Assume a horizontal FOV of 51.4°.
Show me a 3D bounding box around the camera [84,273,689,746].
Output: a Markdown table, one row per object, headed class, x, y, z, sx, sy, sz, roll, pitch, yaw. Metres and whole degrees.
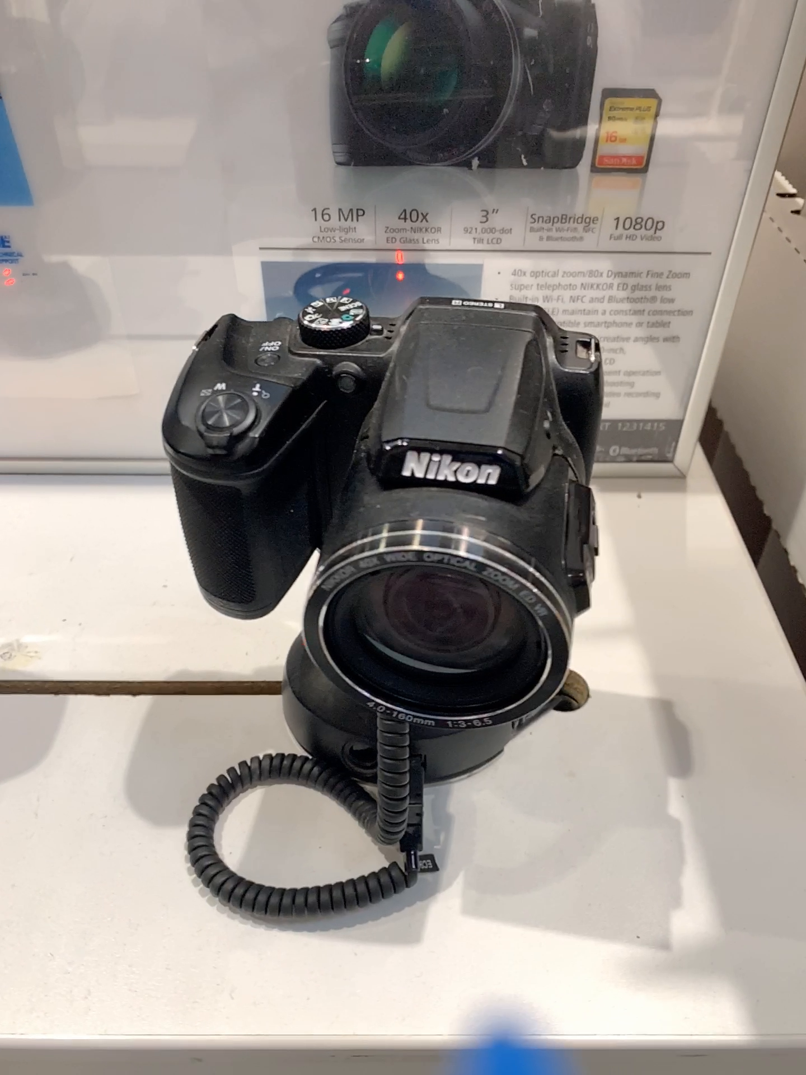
| class | x | y | z | sx | sy | sz | roll | pitch | yaw |
| --- | --- | --- | --- | --- | --- | --- | --- | --- | --- |
| camera | -0.002 | -0.006 | 0.203 | 0.110 | 0.089 | 0.061 | 4 | 41 | 4 |
